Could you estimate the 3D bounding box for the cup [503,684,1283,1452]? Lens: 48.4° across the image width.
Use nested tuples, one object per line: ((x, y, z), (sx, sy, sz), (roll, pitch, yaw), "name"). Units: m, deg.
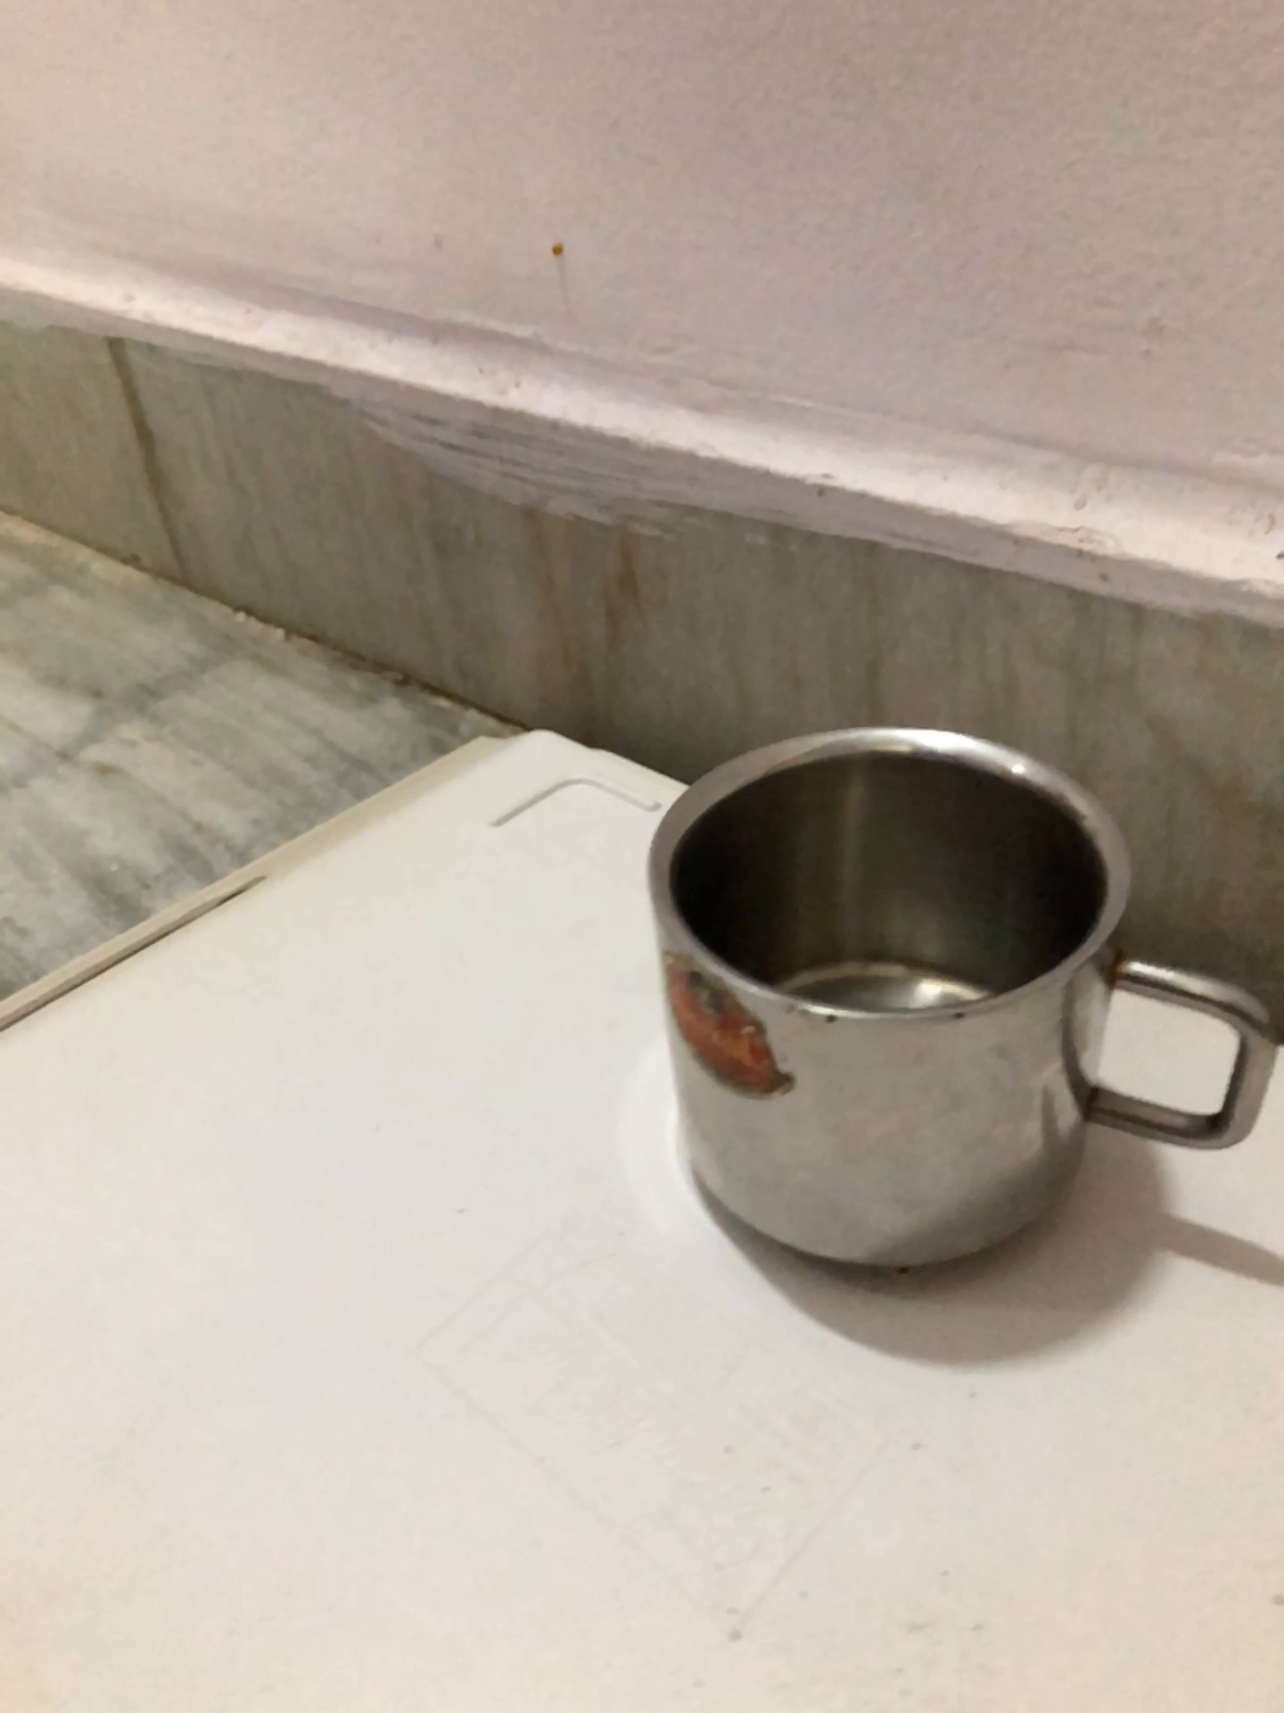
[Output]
((0.045, 0.023, 0.225), (0.100, 0.050, 0.080), (19, 42, 30), "cup")
